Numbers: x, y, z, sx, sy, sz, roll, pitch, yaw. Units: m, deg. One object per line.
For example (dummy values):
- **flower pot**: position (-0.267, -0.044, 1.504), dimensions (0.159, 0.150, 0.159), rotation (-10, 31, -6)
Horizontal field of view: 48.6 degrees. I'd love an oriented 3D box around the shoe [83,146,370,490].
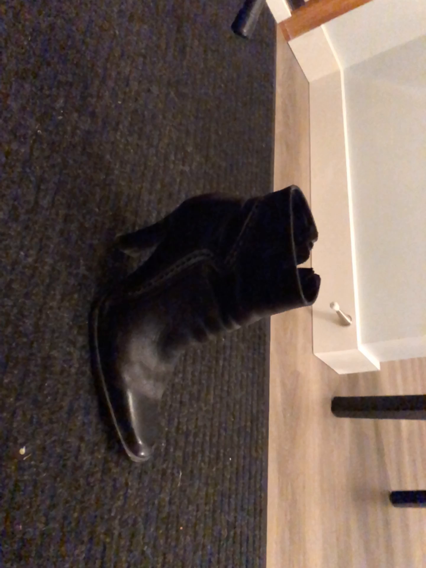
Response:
- **shoe**: position (0.002, 0.041, 0.408), dimensions (0.091, 0.209, 0.240), rotation (25, 58, -55)
